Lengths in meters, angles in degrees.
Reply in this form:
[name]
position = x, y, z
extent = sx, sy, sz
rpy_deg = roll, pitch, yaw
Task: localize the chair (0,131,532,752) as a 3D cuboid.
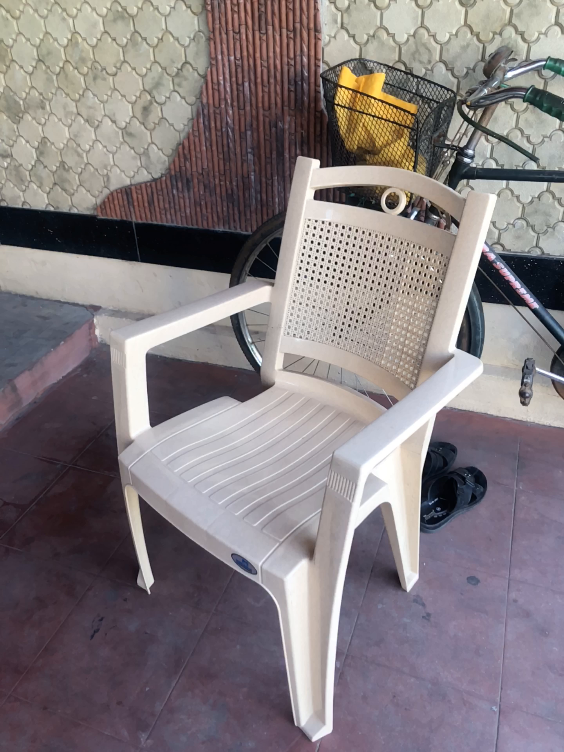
[chair]
position = -0.023, 0.073, 1.129
extent = 0.591, 0.826, 0.552
rpy_deg = 26, 43, 37
